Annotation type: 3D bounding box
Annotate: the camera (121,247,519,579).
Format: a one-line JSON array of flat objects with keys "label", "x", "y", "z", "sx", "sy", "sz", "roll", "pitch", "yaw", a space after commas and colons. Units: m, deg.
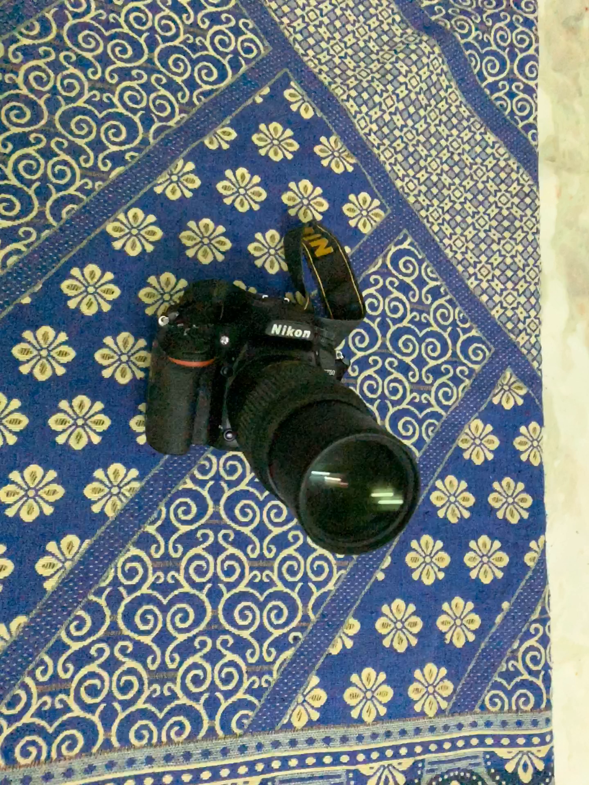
[{"label": "camera", "x": -0.008, "y": 0.007, "z": 0.349, "sx": 0.160, "sy": 0.191, "sz": 0.130, "roll": 5, "pitch": 94, "yaw": -18}]
